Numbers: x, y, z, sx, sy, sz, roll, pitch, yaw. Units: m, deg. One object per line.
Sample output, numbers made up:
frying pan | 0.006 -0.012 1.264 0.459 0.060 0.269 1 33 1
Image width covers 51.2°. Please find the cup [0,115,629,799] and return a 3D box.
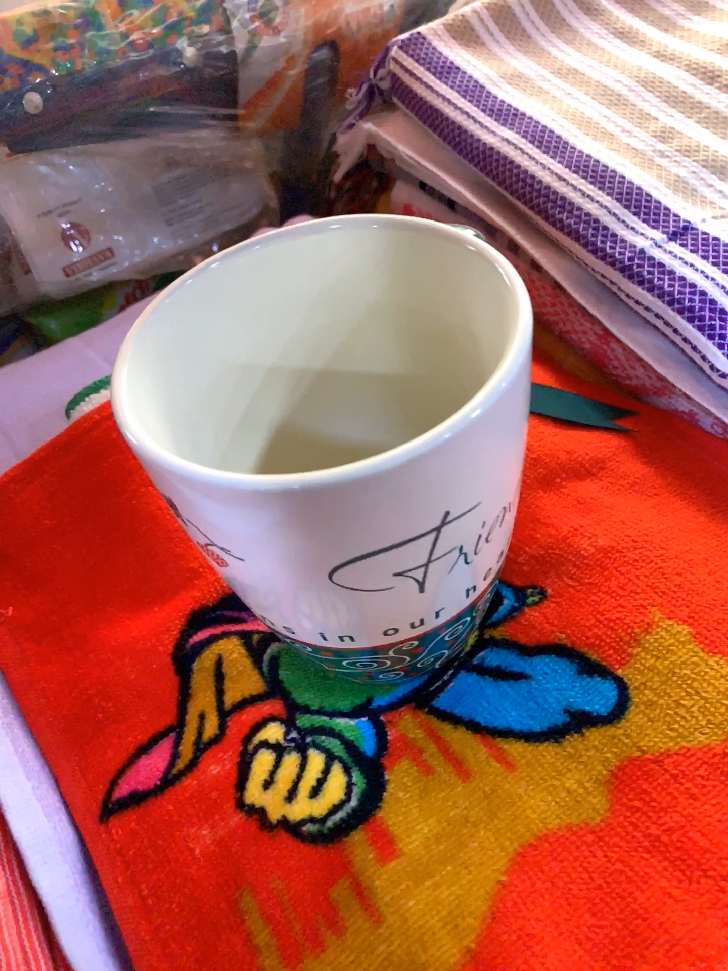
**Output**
cup | -0.003 -0.016 0.200 0.100 0.094 0.133 16 55 23
